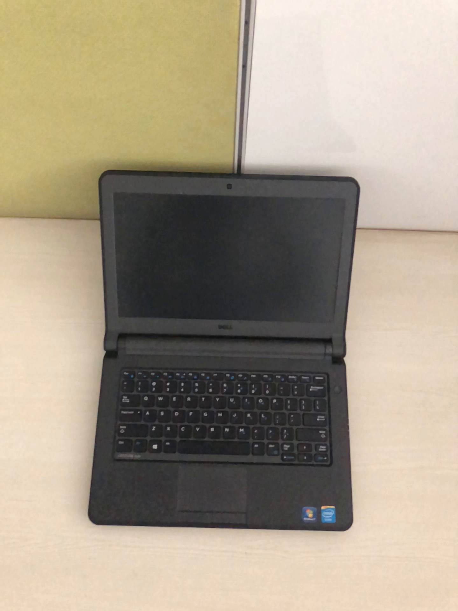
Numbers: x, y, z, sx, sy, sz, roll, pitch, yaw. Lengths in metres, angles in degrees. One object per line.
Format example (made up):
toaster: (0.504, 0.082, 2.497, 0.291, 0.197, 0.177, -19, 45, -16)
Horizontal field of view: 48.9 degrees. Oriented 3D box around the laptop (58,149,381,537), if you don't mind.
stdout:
laptop: (-0.005, 0.043, 0.603, 0.316, 0.123, 0.415, 2, 75, -1)
